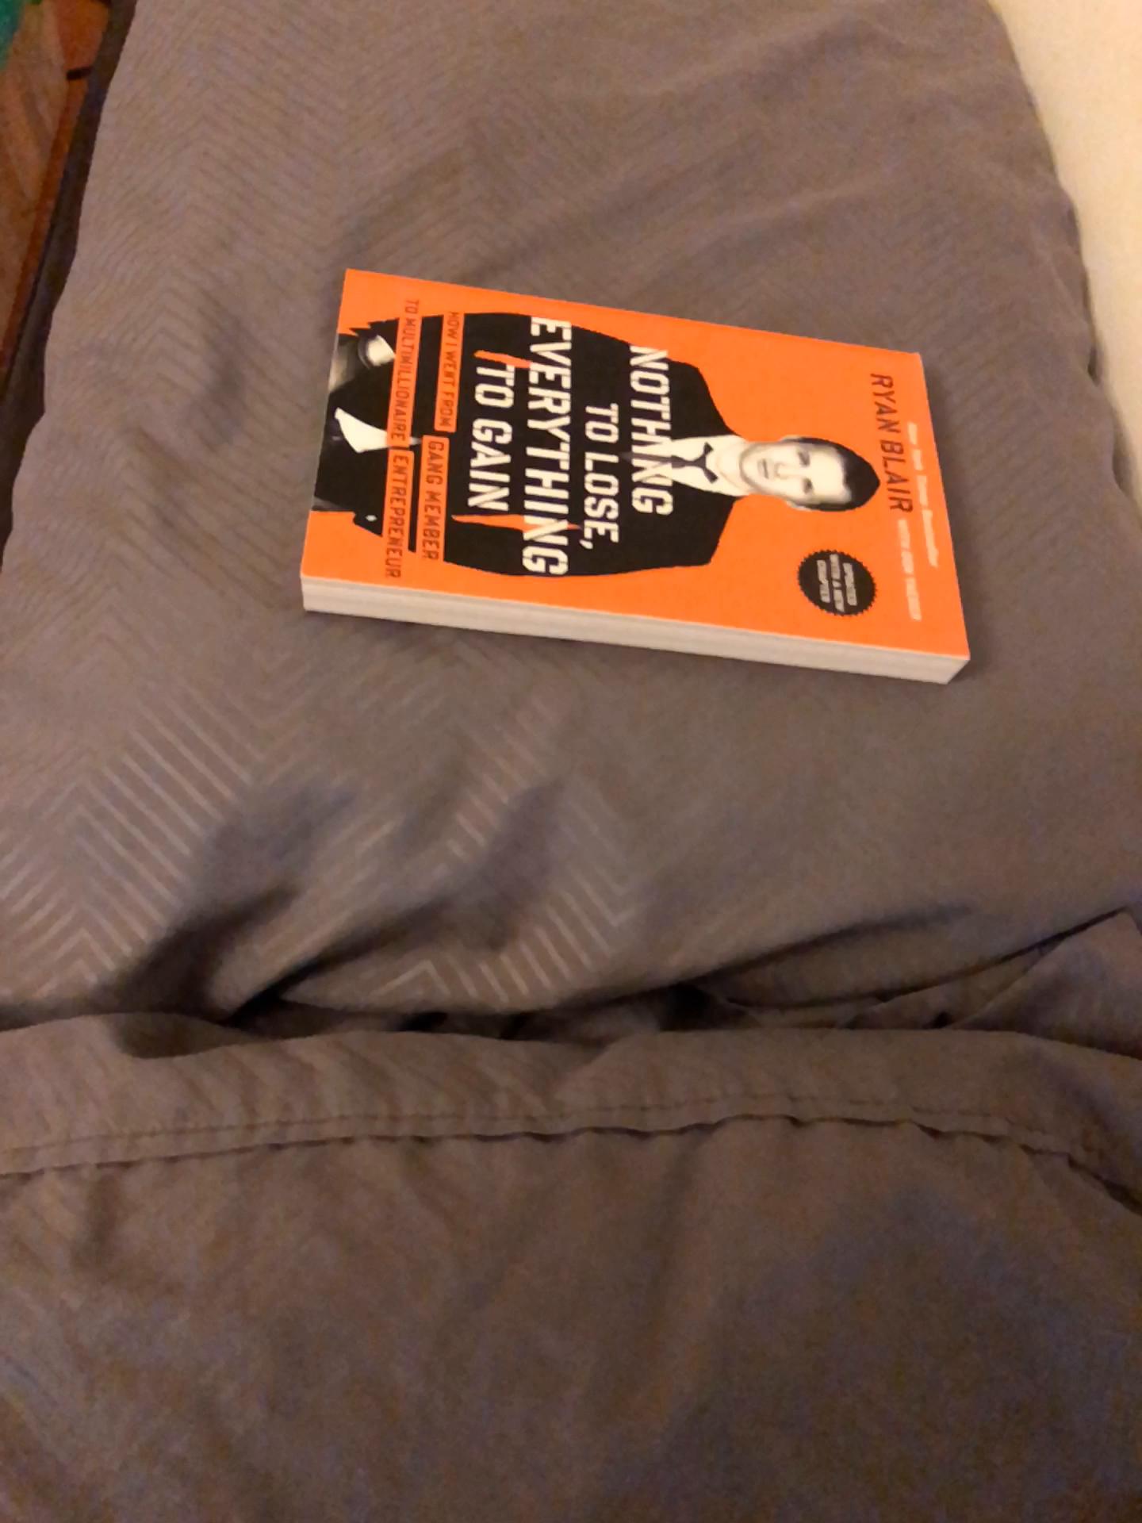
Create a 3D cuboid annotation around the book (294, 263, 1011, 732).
[{"bbox_3d":[0.030,-0.093,0.438,0.230,0.020,0.151,6,64,-8],"label":"book"}]
